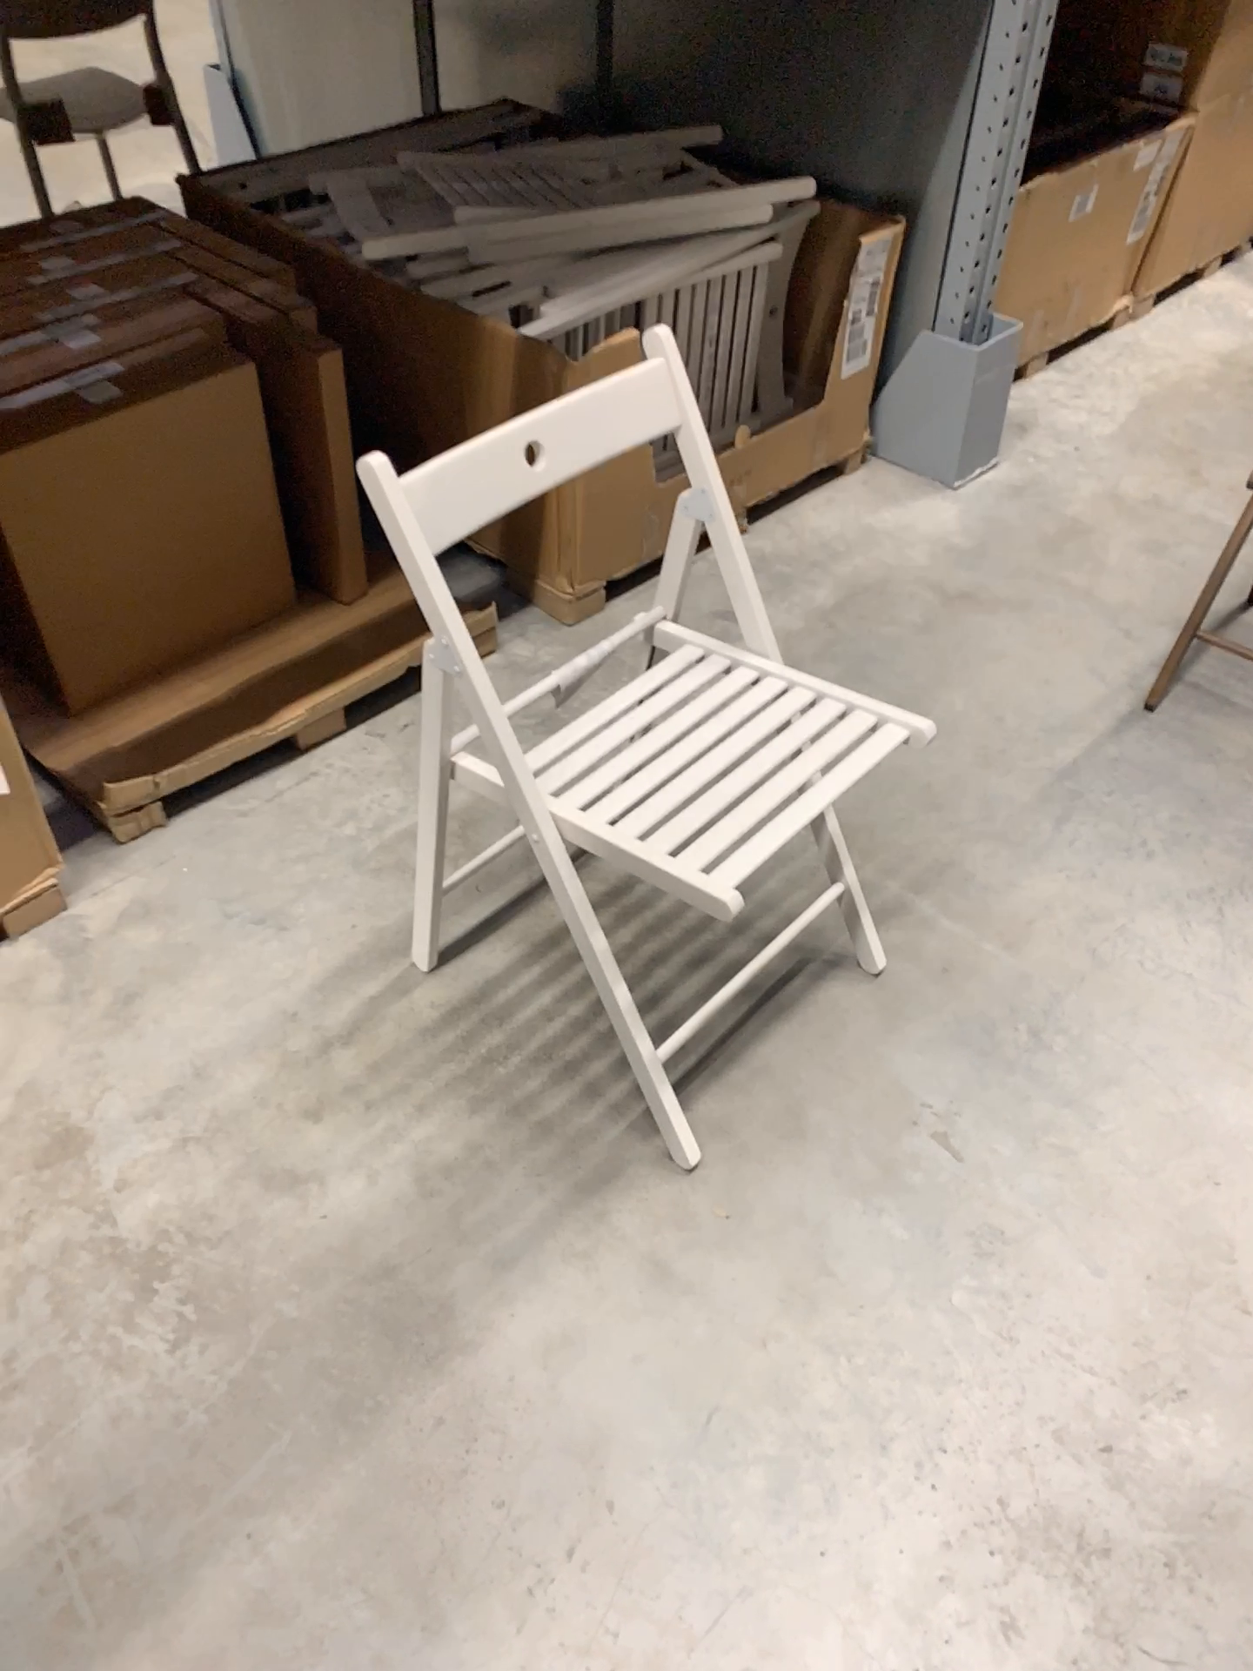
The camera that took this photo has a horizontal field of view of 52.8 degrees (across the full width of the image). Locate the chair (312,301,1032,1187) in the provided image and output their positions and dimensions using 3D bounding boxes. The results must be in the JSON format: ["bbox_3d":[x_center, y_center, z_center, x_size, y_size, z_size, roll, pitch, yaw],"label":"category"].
[{"bbox_3d":[0.037,-0.094,1.359,0.471,0.707,0.431,32,52,29],"label":"chair"}]
